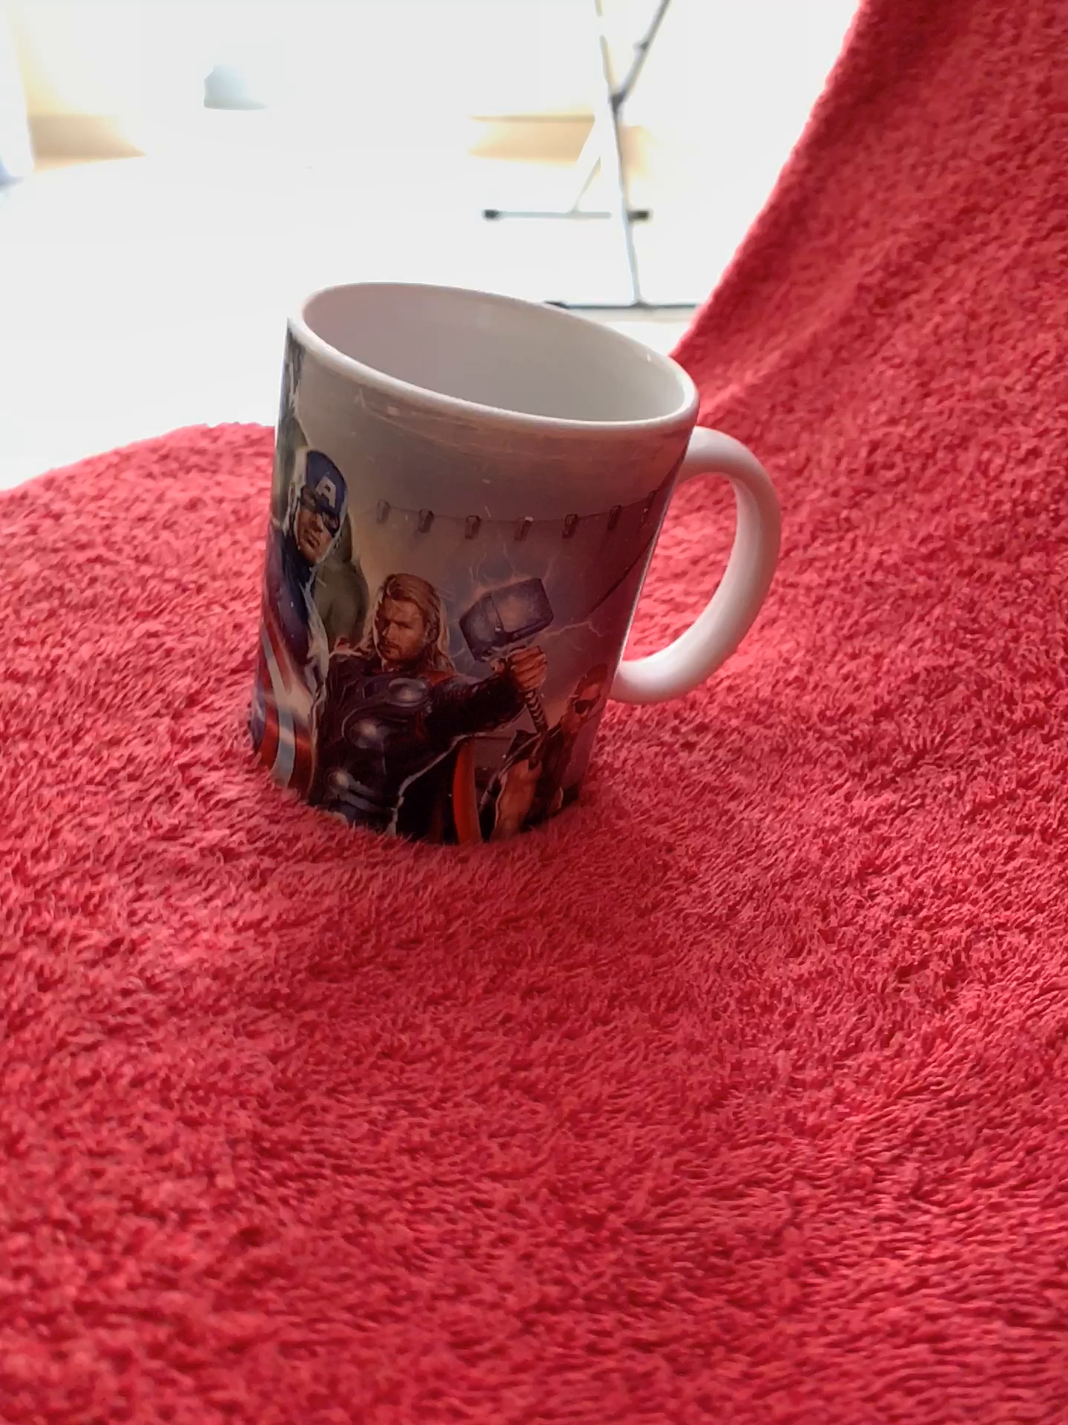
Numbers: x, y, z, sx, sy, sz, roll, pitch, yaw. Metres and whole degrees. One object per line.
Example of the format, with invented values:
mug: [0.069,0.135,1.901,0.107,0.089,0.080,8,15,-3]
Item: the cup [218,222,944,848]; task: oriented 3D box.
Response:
cup: [-0.003,-0.038,0.241,0.120,0.089,0.091,0,40,-18]
